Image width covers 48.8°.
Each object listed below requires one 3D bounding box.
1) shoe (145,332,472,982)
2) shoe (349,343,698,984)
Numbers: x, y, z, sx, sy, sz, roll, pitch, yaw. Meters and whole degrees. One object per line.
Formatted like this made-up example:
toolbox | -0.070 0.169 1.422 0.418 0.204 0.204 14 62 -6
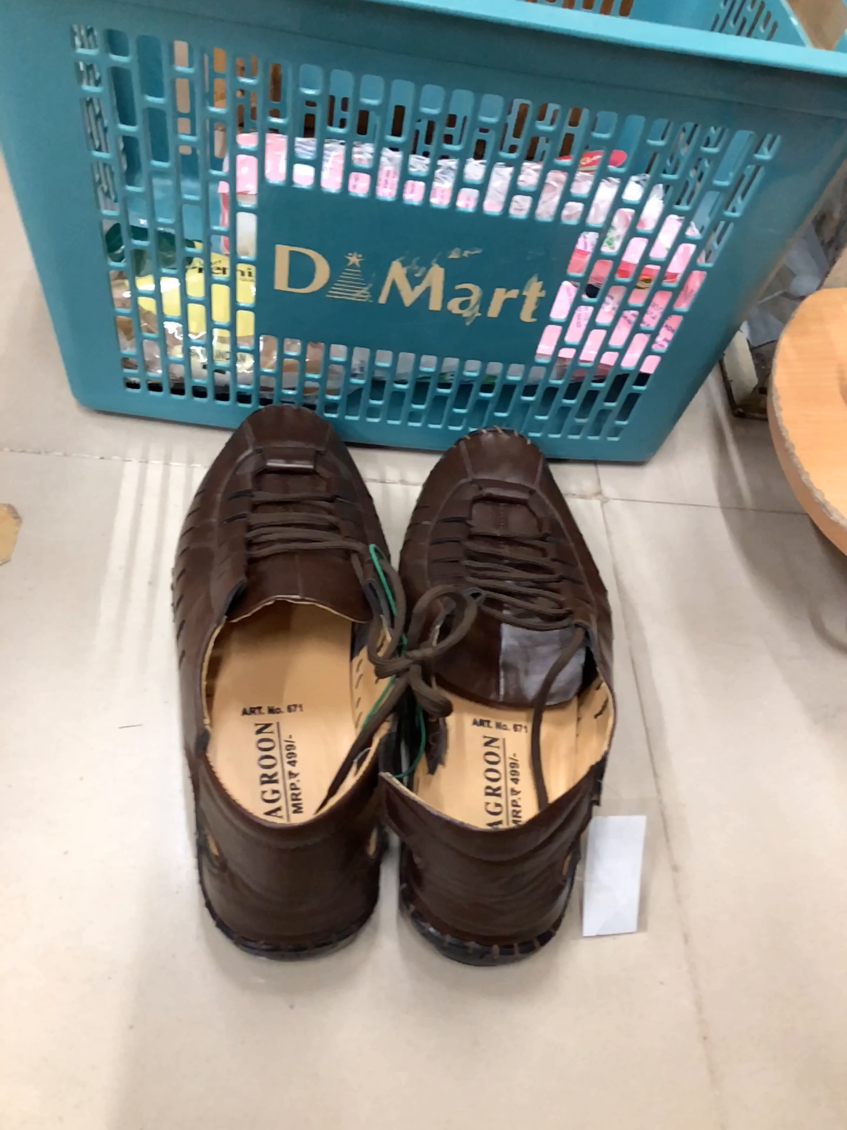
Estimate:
shoe | -0.060 0.027 0.424 0.107 0.101 0.273 0 54 -12
shoe | 0.042 0.033 0.439 0.112 0.101 0.274 9 53 -5
